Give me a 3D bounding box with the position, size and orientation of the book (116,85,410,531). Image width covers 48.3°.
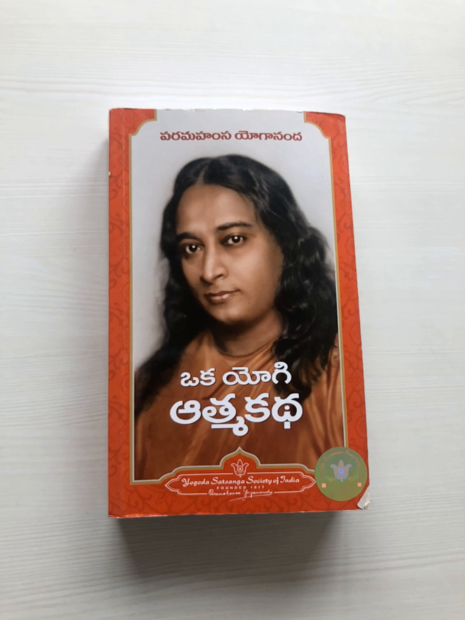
[{"bbox_3d":[0.014,-0.005,0.295,0.150,0.040,0.233,0,83,-5],"label":"book"}]
